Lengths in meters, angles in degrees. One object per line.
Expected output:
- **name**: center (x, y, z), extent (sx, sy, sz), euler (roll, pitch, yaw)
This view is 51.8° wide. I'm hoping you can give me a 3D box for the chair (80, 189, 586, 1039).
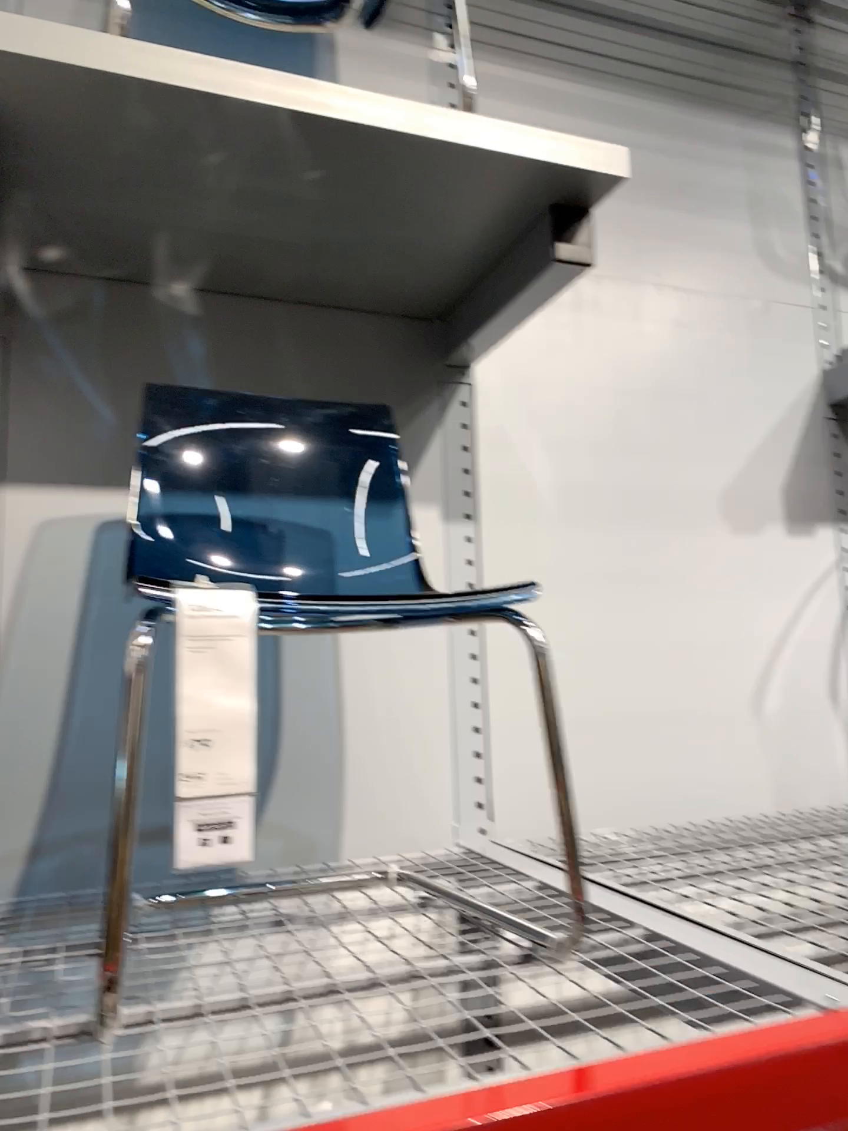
- **chair**: center (-0.172, 0.058, 1.207), extent (0.530, 0.842, 0.549), euler (1, -8, -20)
